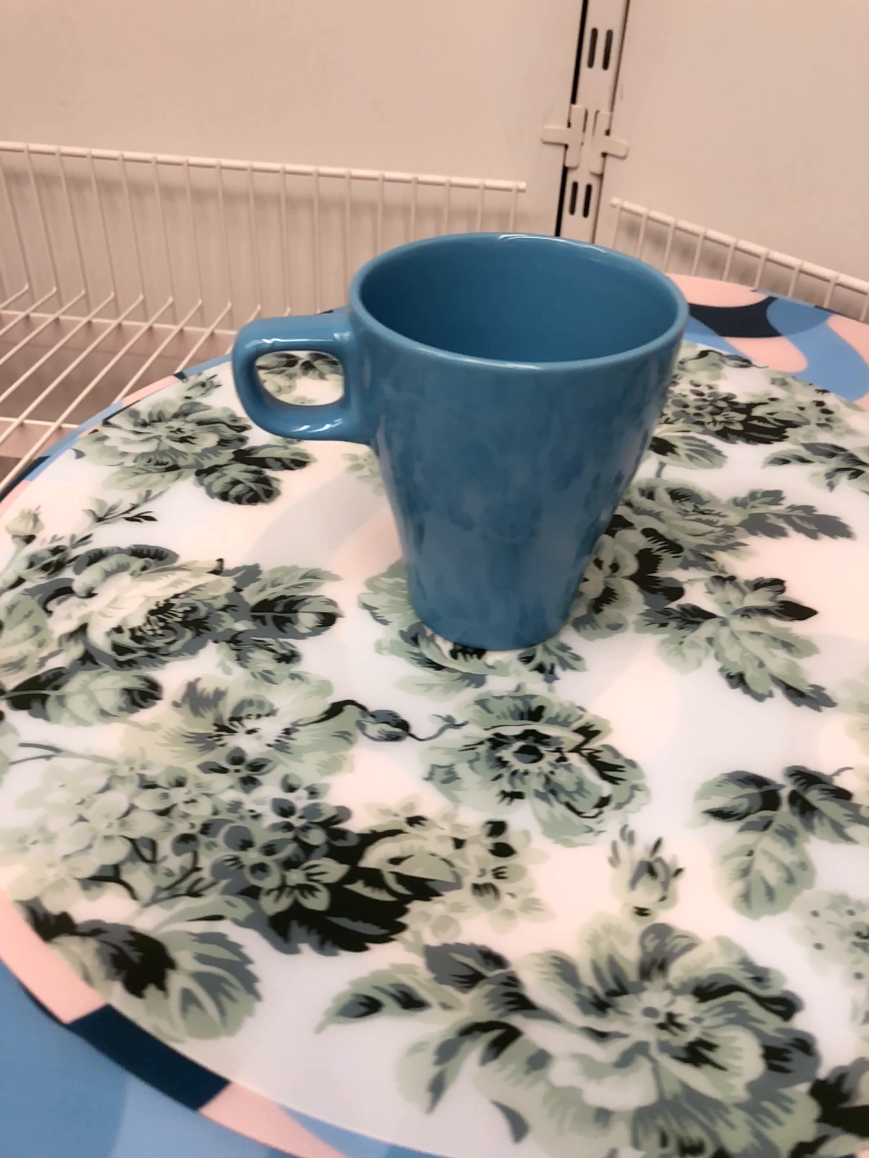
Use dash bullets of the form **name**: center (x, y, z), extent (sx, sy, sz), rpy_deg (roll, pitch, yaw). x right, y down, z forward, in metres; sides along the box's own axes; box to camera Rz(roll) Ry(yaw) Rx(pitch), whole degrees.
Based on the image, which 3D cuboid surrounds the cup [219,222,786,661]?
- **cup**: center (0.008, -0.041, 0.260), extent (0.120, 0.080, 0.090), rpy_deg (-3, 36, -9)
